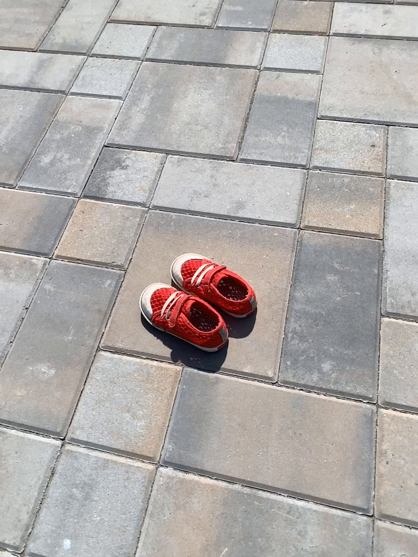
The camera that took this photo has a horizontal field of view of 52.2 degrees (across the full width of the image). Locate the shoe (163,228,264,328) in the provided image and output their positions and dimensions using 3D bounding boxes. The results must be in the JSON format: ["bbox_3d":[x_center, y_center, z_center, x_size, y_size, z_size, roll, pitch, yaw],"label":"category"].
[{"bbox_3d":[0.009,0.000,0.760,0.160,0.100,0.070,33,68,20],"label":"shoe"}]

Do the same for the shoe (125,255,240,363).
[{"bbox_3d":[-0.042,0.053,0.750,0.170,0.100,0.090,27,67,18],"label":"shoe"}]
